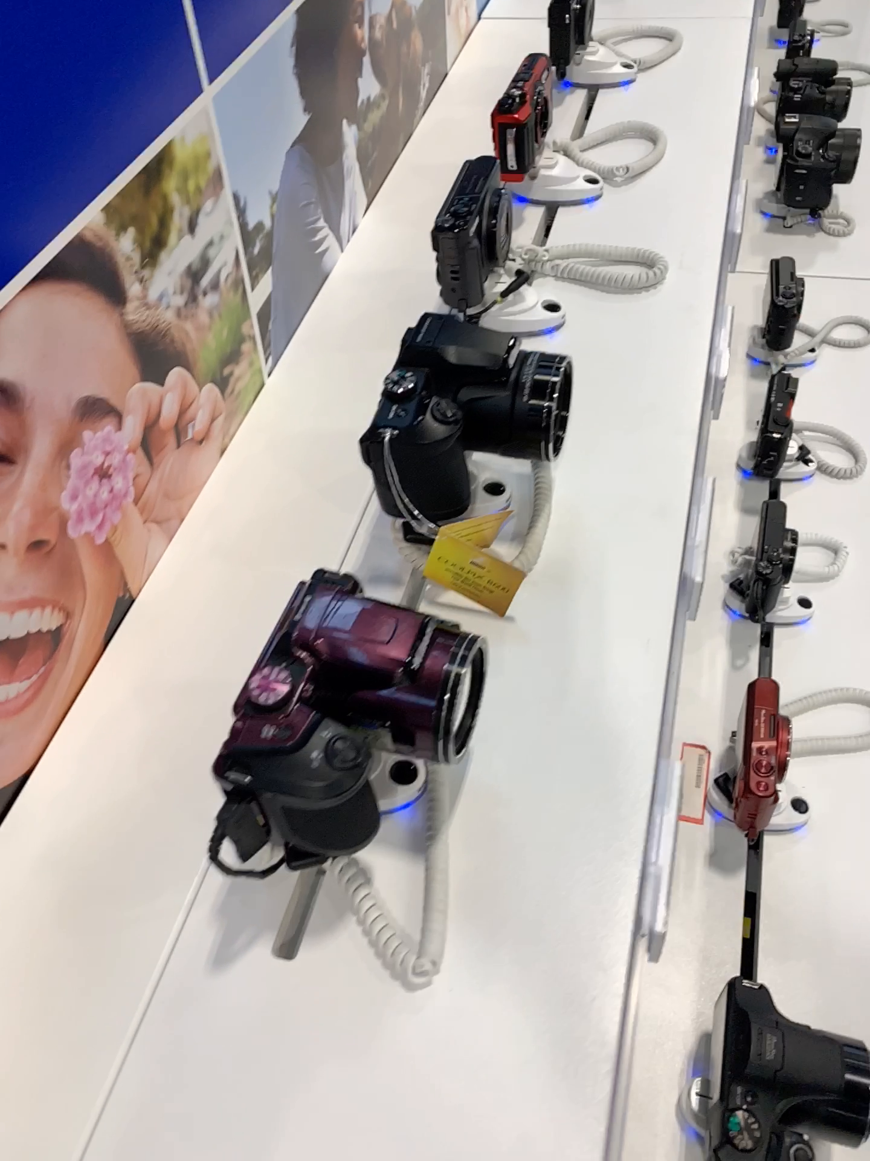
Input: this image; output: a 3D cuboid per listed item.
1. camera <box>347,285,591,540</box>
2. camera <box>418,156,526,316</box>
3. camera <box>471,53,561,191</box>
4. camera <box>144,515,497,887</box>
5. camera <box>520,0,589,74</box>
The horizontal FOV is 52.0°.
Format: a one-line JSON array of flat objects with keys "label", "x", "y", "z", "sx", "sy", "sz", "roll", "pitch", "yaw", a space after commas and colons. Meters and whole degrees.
[{"label": "camera", "x": 0.026, "y": -0.102, "z": 0.528, "sx": 0.110, "sy": 0.080, "sz": 0.120, "roll": 9, "pitch": 53, "yaw": 15}, {"label": "camera", "x": 0.031, "y": -0.264, "z": 0.680, "sx": 0.050, "sy": 0.060, "sz": 0.120, "roll": 8, "pitch": 53, "yaw": 15}, {"label": "camera", "x": 0.075, "y": -0.408, "z": 0.792, "sx": 0.050, "sy": 0.060, "sz": 0.131, "roll": 8, "pitch": 53, "yaw": 15}, {"label": "camera", "x": -0.042, "y": 0.051, "z": 0.413, "sx": 0.110, "sy": 0.080, "sz": 0.131, "roll": 9, "pitch": 53, "yaw": 15}, {"label": "camera", "x": 0.126, "y": -0.585, "z": 0.933, "sx": 0.050, "sy": 0.060, "sz": 0.110, "roll": 8, "pitch": 53, "yaw": 15}]
